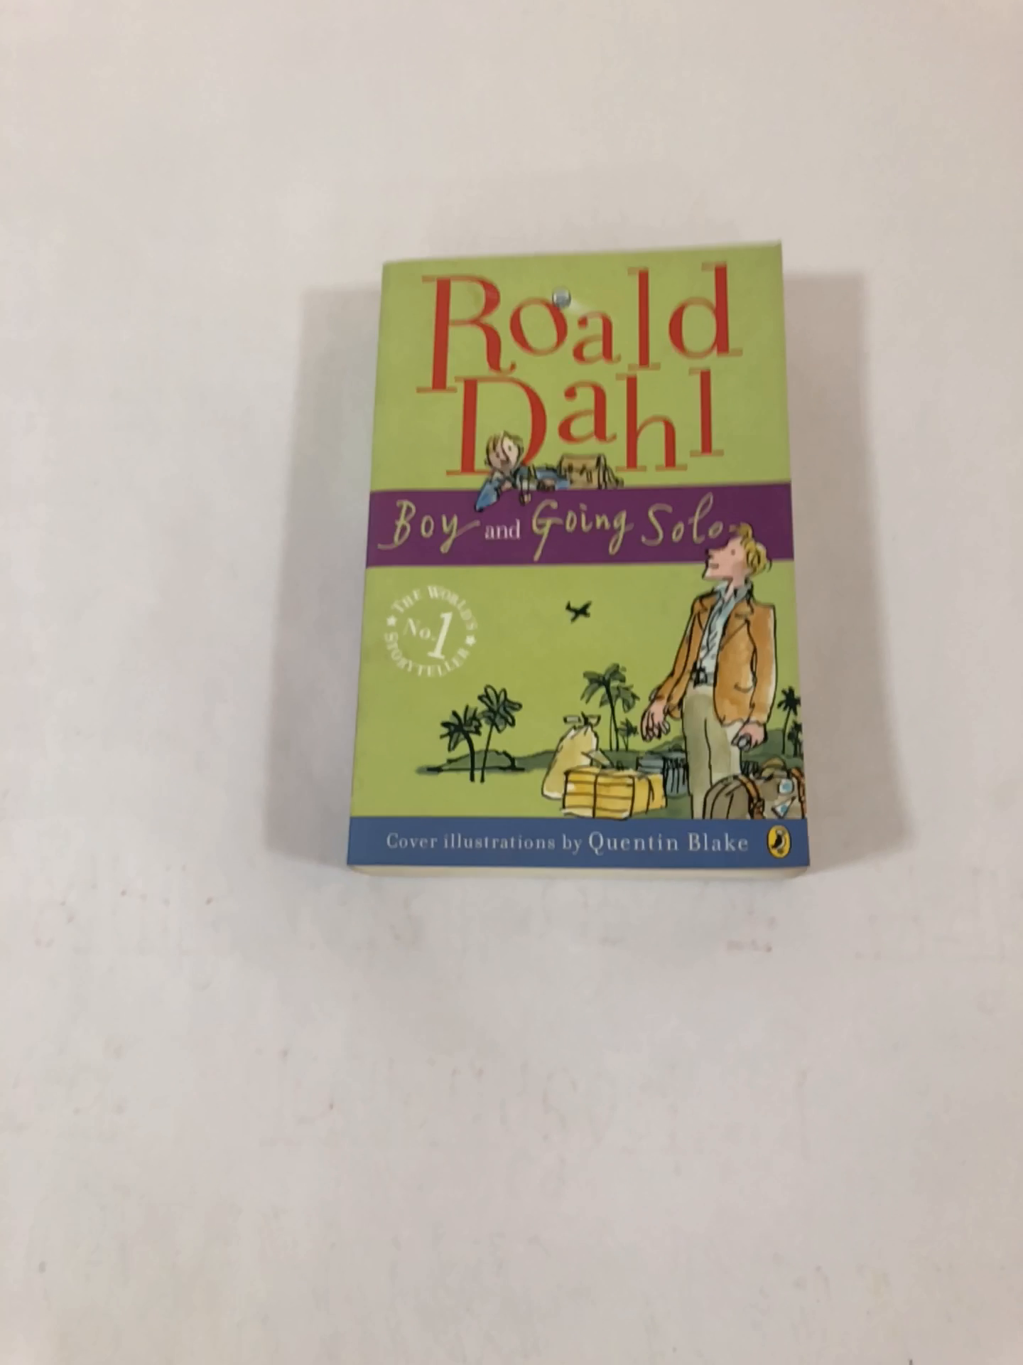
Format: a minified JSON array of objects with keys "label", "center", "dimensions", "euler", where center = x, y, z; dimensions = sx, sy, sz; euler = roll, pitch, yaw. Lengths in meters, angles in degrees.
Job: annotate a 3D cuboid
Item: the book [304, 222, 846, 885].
[{"label":"book","center":[0.017,-0.039,0.339],"dimensions":[0.140,0.036,0.193],"euler":[-1,75,4]}]
